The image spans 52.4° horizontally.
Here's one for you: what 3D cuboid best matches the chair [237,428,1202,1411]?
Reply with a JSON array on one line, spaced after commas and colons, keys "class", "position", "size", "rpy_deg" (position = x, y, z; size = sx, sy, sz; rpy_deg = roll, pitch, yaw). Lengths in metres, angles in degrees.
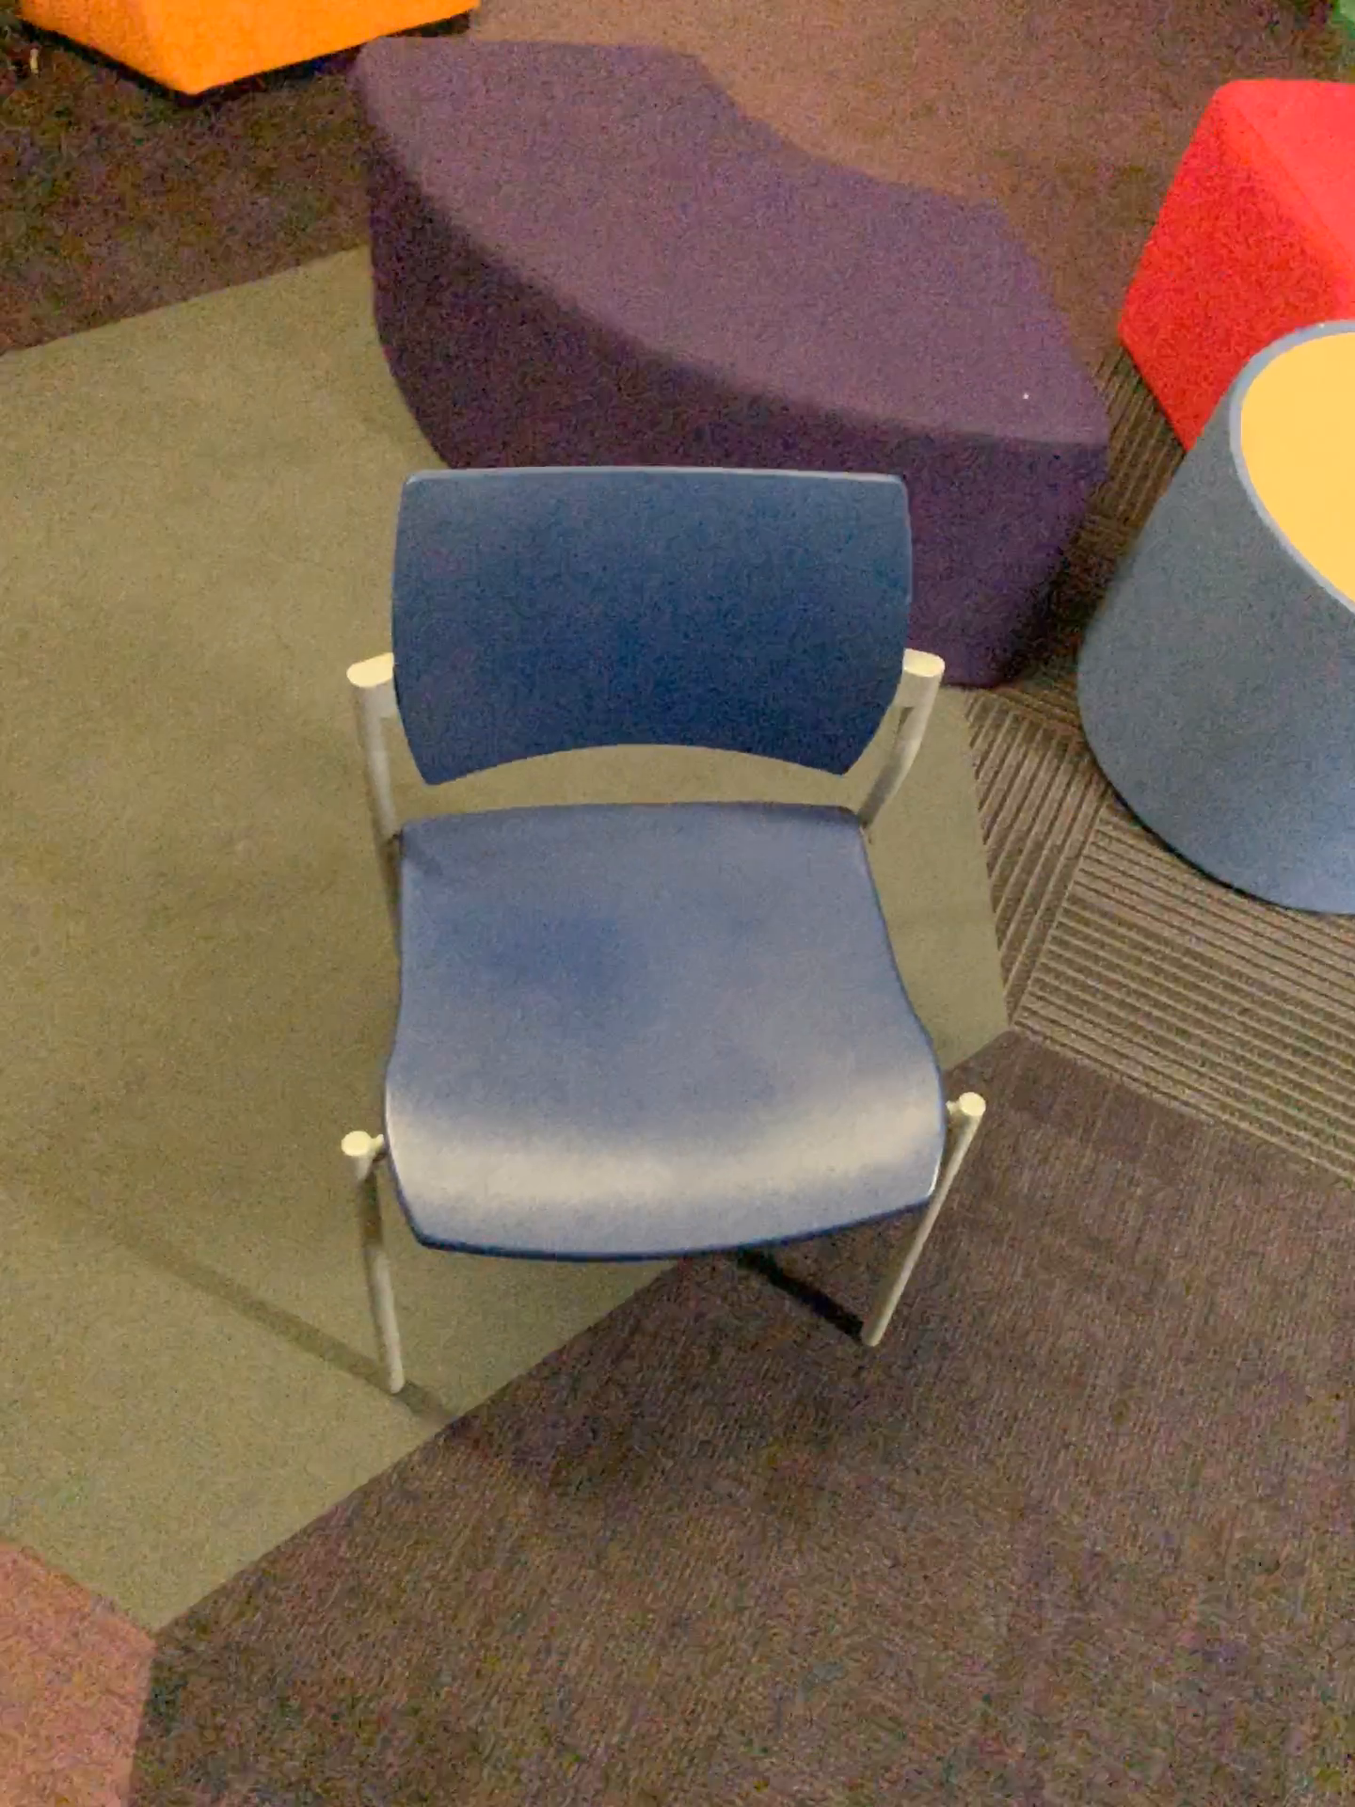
[{"class": "chair", "position": [-0.025, 0.054, 1.231], "size": [0.560, 0.695, 0.574], "rpy_deg": [-2, 58, -8]}]
